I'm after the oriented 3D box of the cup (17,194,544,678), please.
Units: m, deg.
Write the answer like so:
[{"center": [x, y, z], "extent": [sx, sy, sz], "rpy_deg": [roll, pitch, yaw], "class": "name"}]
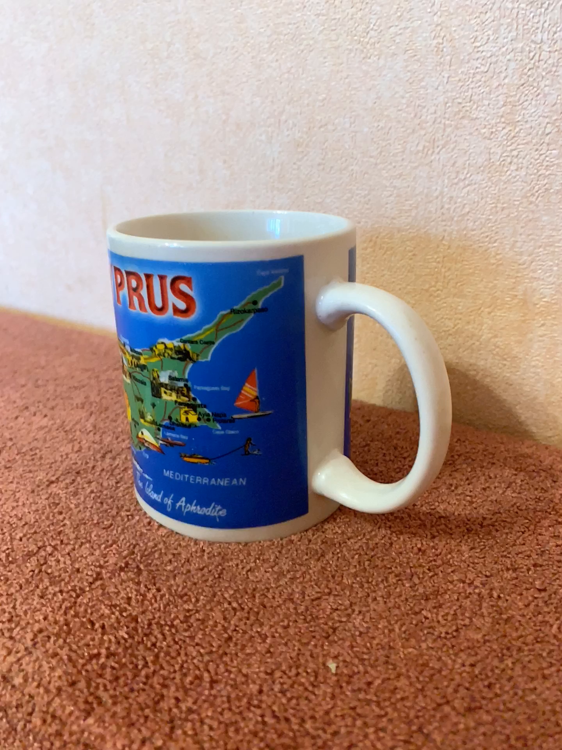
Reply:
[{"center": [-0.001, -0.002, 0.179], "extent": [0.119, 0.091, 0.085], "rpy_deg": [15, 28, 37], "class": "cup"}]
